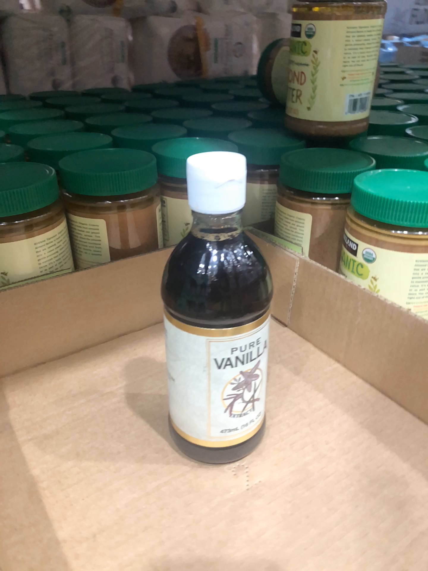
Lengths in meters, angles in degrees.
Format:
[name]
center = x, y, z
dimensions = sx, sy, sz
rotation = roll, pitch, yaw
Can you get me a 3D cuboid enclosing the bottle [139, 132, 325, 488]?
[bottle]
center = 0.008, 0.018, 0.294
dimensions = 0.070, 0.199, 0.070
rotation = 0, 29, 0
